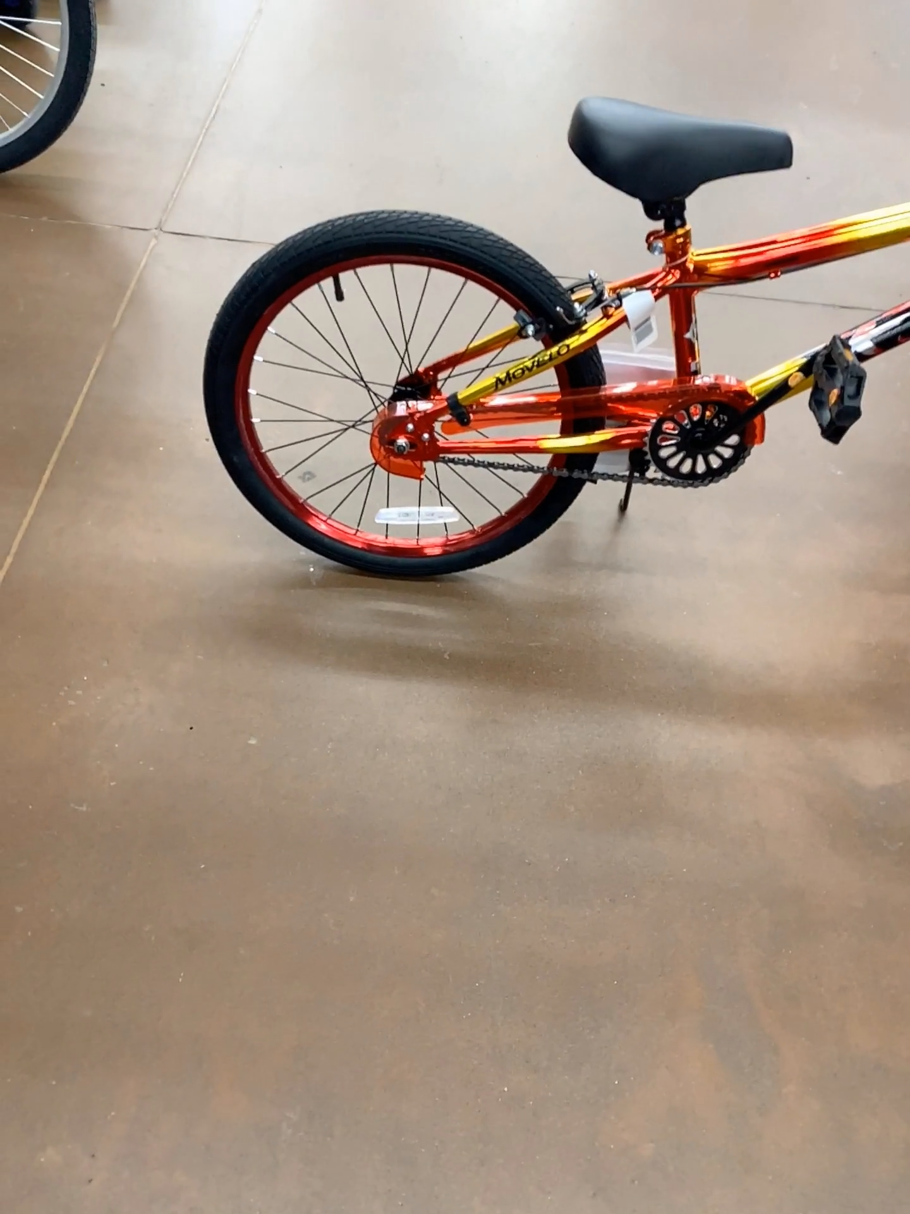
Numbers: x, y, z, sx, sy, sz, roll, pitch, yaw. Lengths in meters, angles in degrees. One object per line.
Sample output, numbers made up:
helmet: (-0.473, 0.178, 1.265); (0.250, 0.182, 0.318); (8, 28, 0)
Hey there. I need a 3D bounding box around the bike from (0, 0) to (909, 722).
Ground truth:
bike: (0.296, -0.486, 1.012); (1.123, 0.926, 0.706); (-3, 53, -7)
